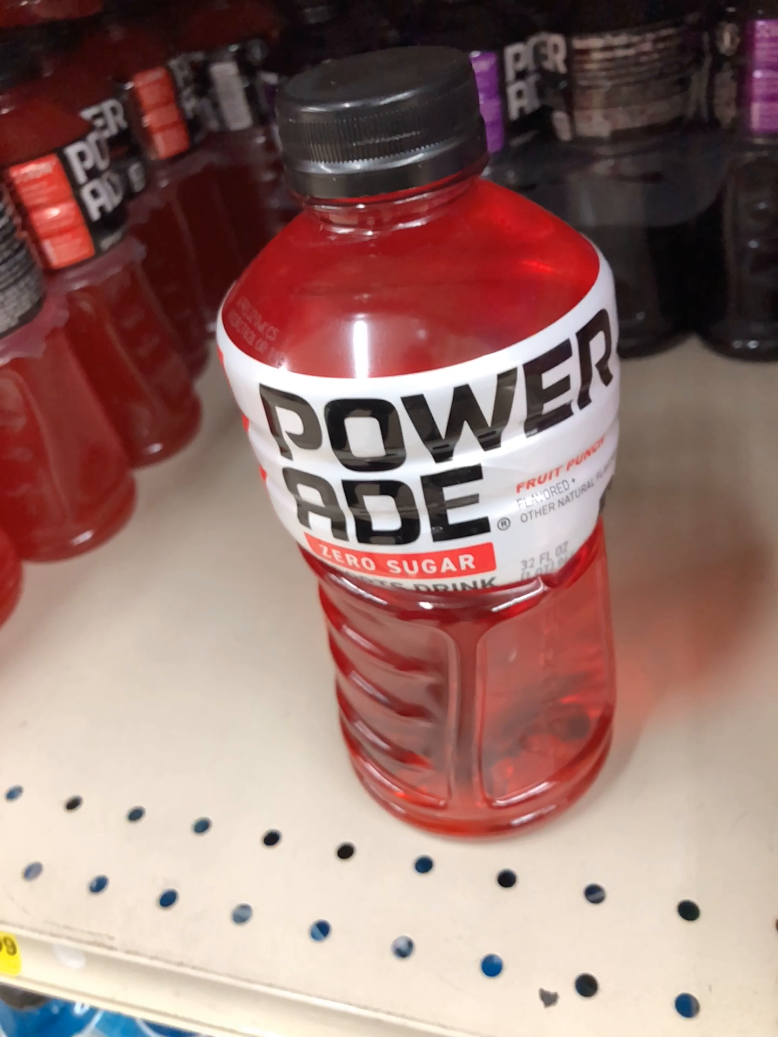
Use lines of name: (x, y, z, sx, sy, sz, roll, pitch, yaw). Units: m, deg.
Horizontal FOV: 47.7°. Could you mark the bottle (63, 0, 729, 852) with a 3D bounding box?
bottle: (0.018, -0.012, 0.219, 0.095, 0.190, 0.095, -7, 40, 6)
